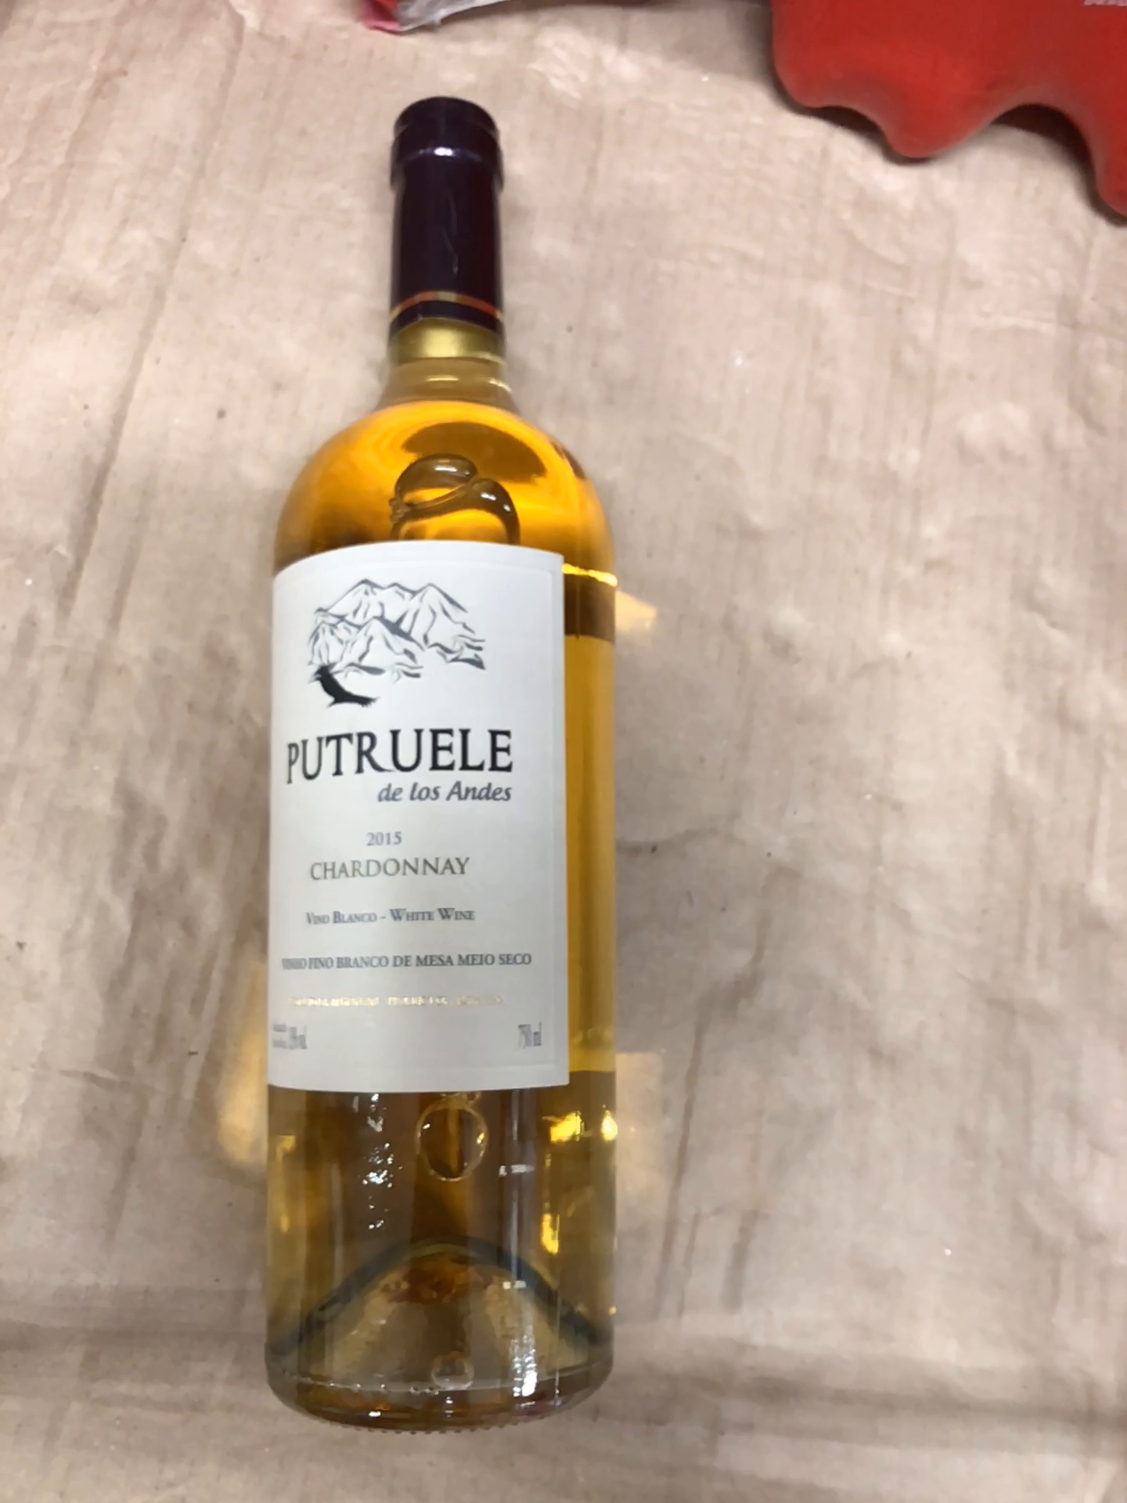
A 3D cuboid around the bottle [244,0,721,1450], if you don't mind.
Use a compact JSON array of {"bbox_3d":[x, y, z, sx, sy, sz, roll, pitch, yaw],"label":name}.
[{"bbox_3d":[-0.016,-0.018,0.288,0.080,0.070,0.300,-4,78,12],"label":"bottle"}]
